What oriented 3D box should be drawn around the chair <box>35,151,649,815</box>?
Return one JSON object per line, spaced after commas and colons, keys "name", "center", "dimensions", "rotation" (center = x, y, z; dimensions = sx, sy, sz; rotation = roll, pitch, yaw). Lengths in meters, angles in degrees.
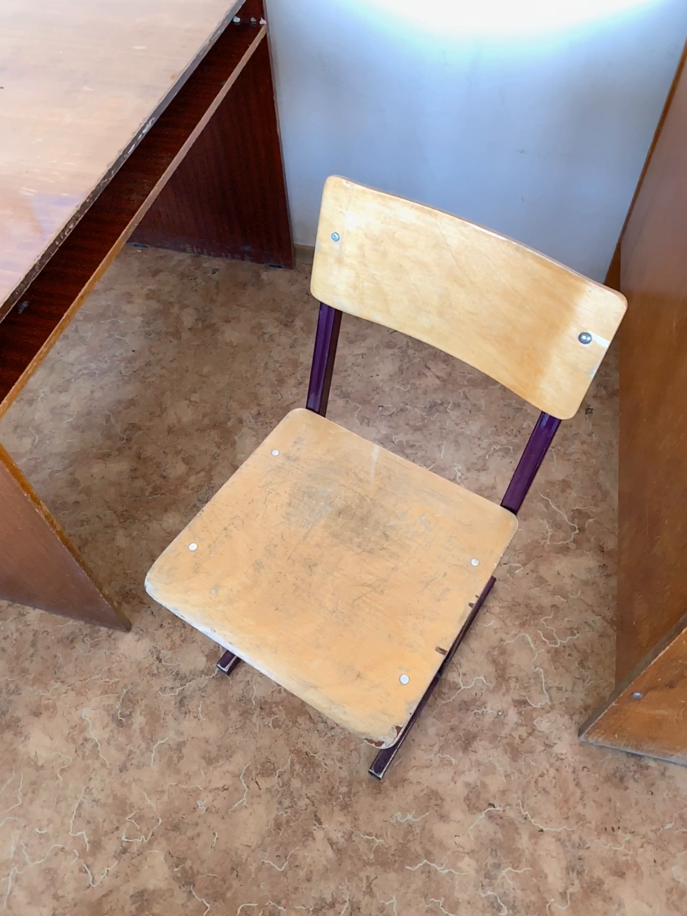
{"name": "chair", "center": [0.029, 0.092, 0.960], "dimensions": [0.381, 0.735, 0.472], "rotation": [28, 60, 21]}
